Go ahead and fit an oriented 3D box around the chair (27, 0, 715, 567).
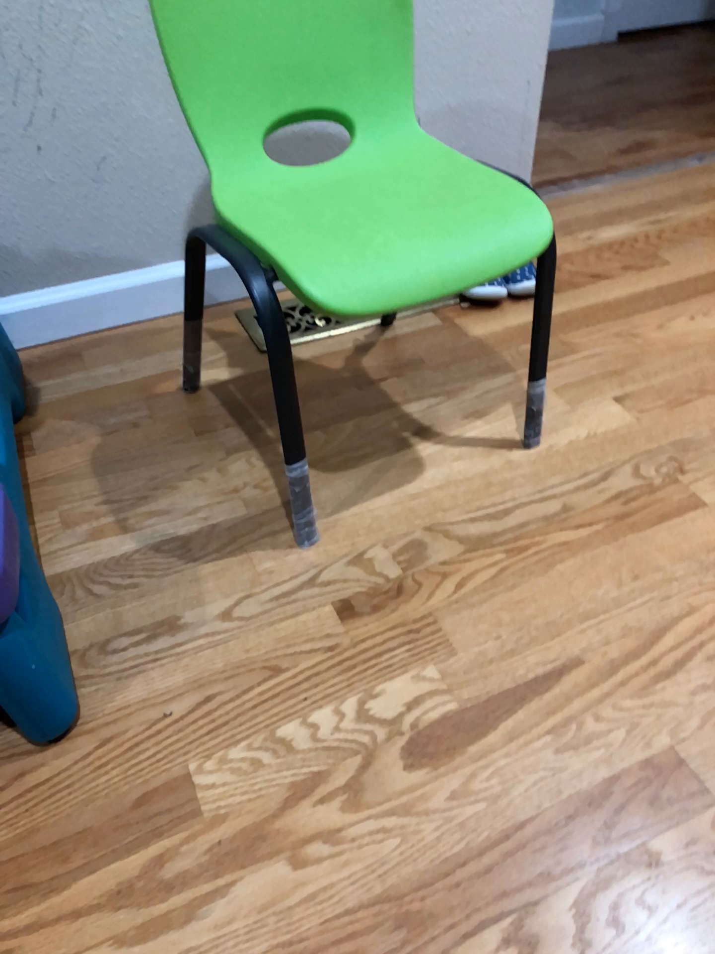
[{"bbox_3d":[0.012,-0.336,0.901,0.511,0.557,0.482,-21,46,-21],"label":"chair"}]
